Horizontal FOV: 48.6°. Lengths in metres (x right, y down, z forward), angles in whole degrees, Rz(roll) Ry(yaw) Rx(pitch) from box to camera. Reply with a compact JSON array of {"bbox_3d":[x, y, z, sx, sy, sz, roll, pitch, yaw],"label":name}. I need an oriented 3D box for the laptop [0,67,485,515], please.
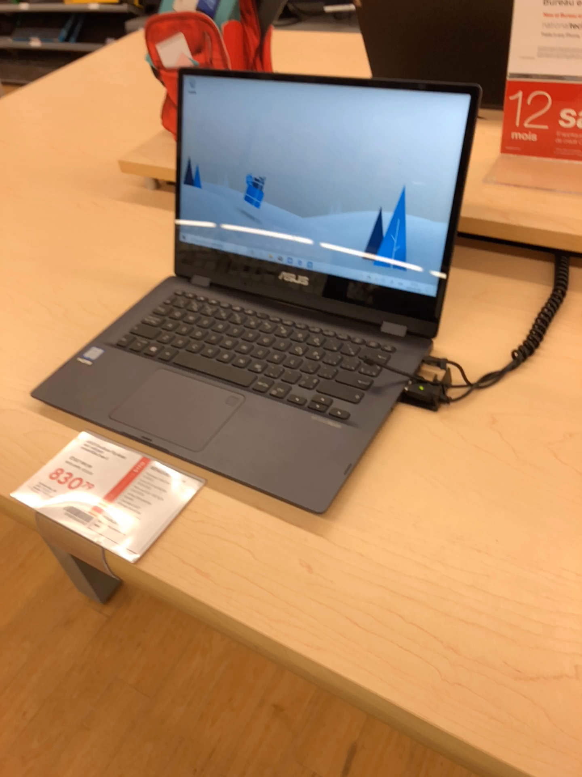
[{"bbox_3d":[-0.042,-0.120,0.570,0.313,0.188,0.314,18,50,27],"label":"laptop"}]
